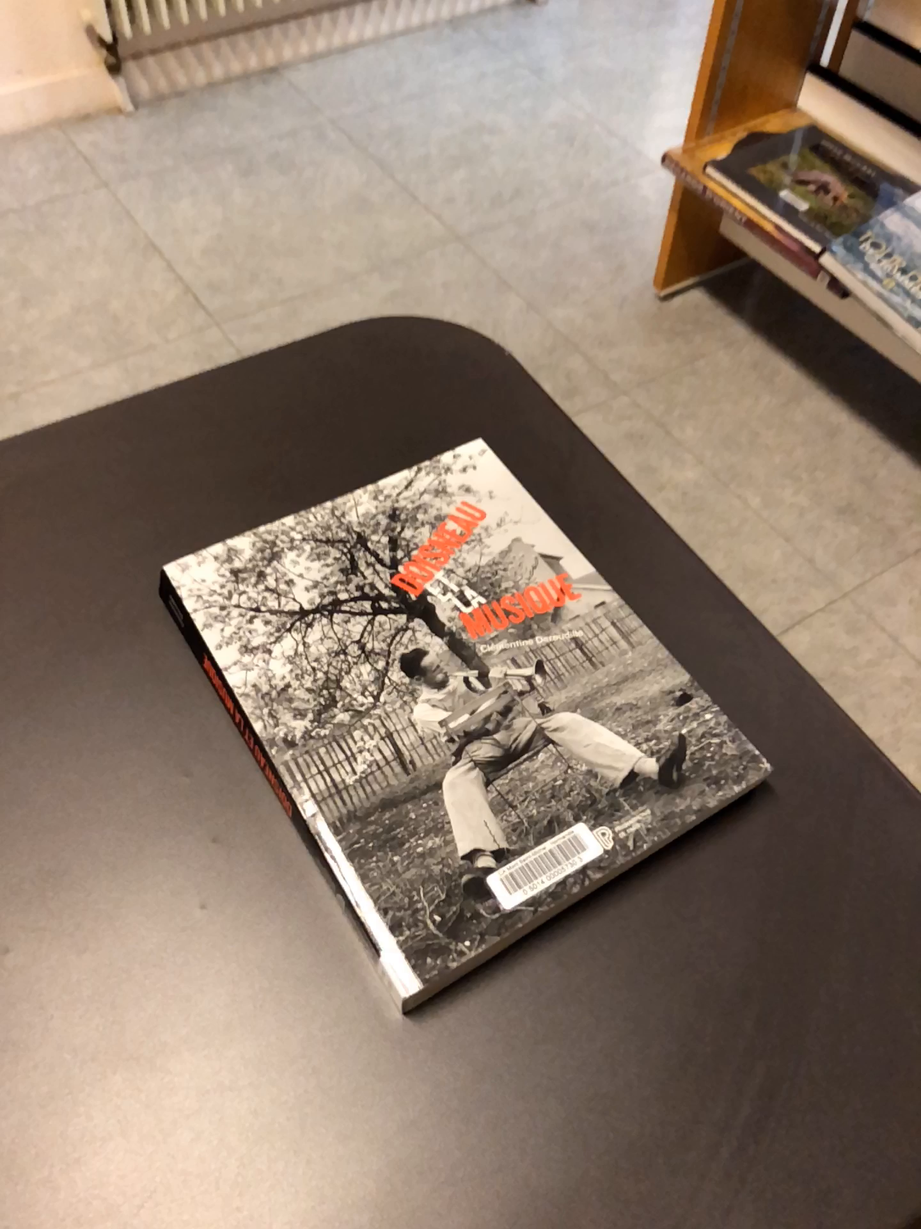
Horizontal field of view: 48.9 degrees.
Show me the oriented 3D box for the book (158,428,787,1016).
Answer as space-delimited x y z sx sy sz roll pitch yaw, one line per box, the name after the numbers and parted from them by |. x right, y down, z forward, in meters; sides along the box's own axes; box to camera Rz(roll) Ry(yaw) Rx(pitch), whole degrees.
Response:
-0.005 0.026 0.488 0.194 0.030 0.251 -25 56 -20 | book
